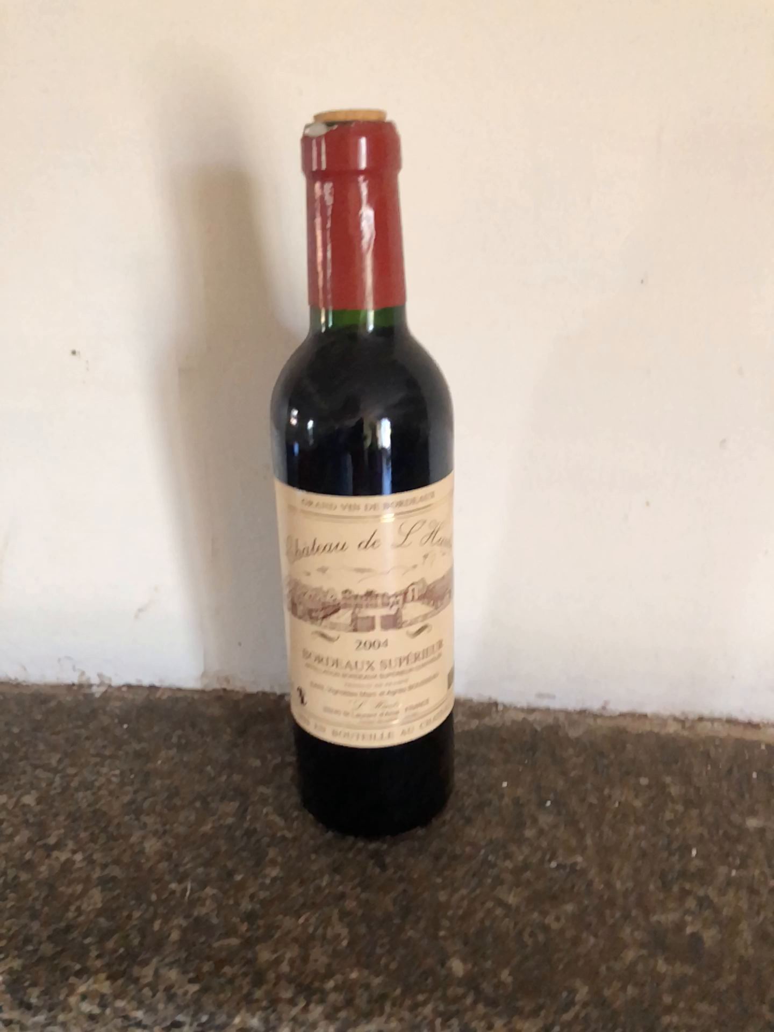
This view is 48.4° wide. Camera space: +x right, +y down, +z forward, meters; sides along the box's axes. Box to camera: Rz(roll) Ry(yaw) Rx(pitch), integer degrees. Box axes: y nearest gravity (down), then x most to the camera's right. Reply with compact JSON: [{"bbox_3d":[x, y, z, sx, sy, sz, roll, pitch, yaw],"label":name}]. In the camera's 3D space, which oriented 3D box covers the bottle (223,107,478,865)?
[{"bbox_3d":[-0.007,-0.003,0.280,0.060,0.229,0.060,-3,20,1],"label":"bottle"}]
